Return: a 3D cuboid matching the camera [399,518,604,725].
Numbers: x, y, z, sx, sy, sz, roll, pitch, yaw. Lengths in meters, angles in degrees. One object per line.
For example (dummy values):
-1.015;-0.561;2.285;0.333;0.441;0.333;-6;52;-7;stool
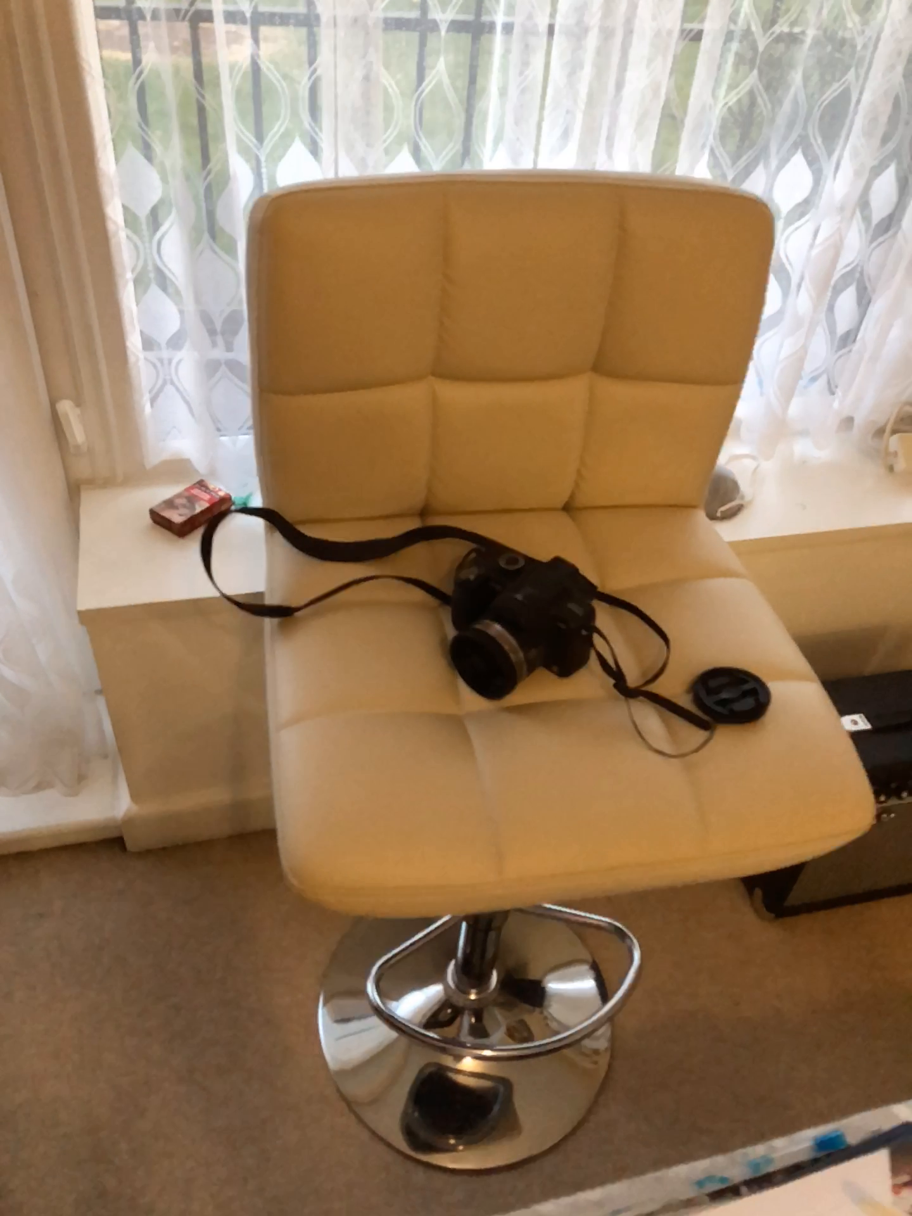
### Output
0.032;0.007;0.741;0.112;0.076;0.098;30;47;25;camera
